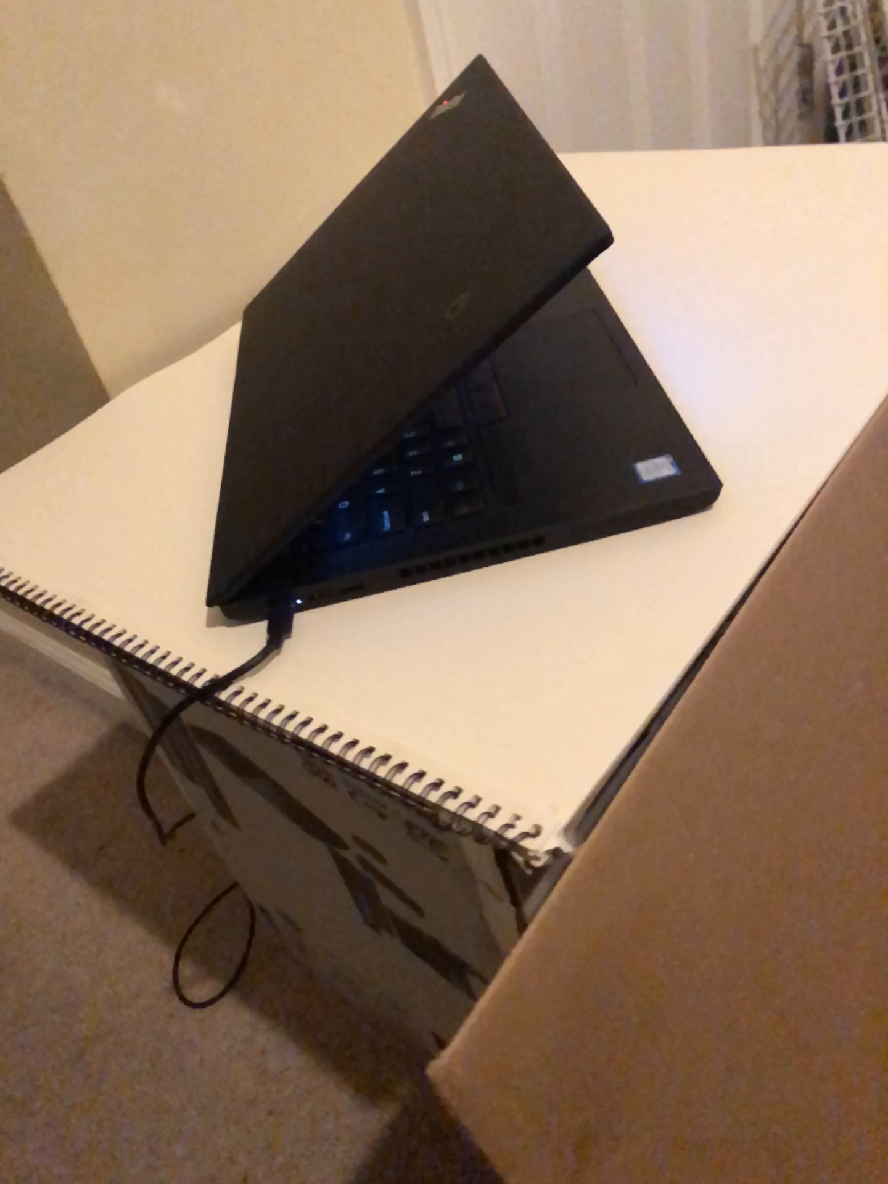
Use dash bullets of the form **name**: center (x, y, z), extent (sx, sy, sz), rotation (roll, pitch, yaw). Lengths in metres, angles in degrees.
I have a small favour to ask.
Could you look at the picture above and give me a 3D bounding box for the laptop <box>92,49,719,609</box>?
- **laptop**: center (-0.023, -0.161, 0.512), extent (0.226, 0.115, 0.319), rotation (-14, 39, 3)
